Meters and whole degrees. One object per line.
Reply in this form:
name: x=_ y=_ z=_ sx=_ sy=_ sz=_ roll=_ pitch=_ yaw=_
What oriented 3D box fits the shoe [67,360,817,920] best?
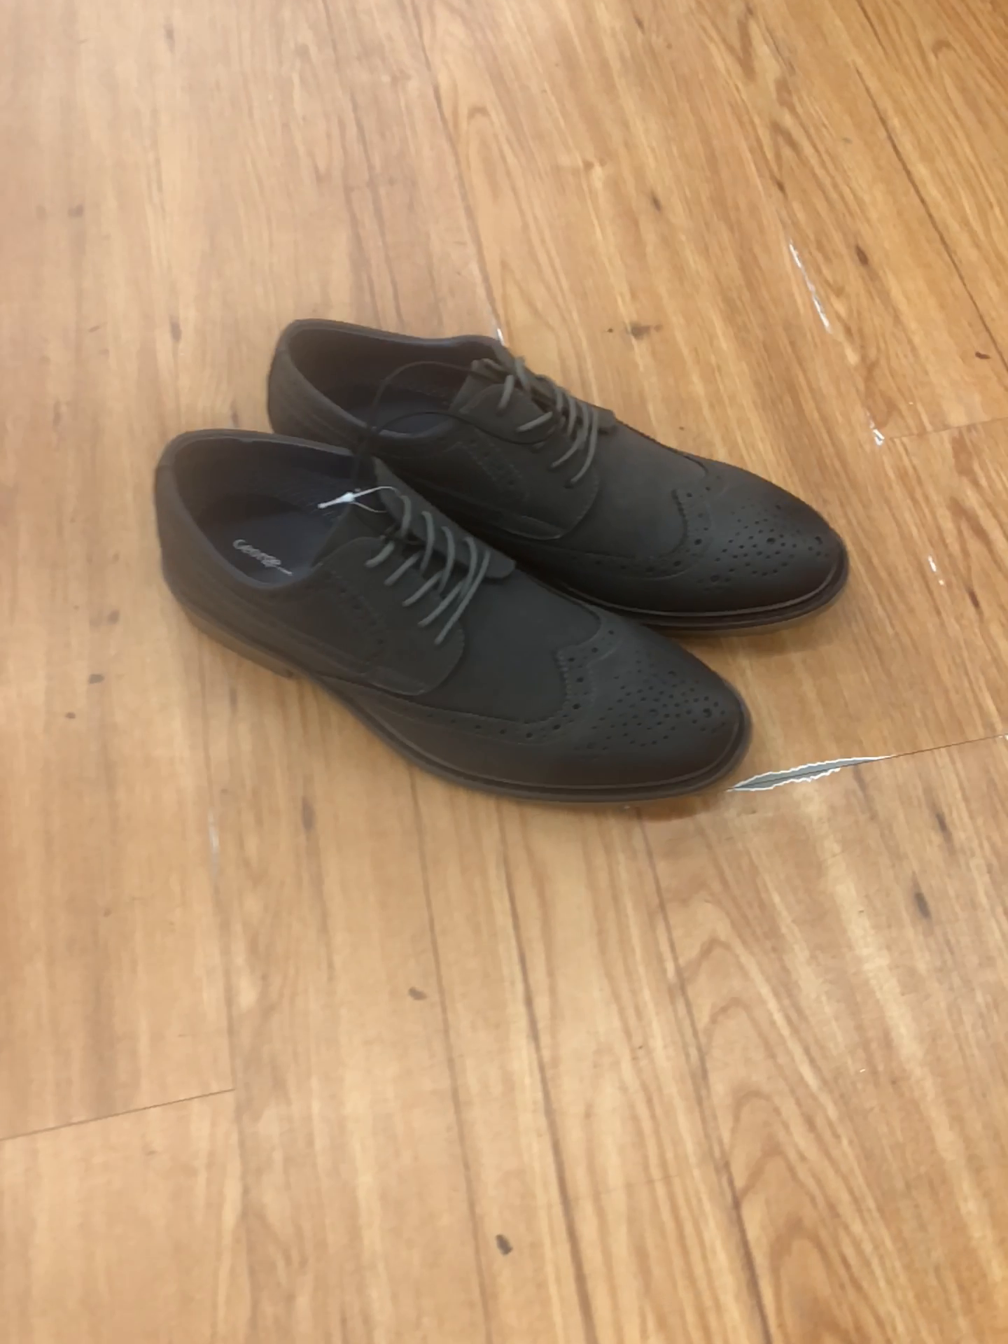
shoe: x=-0.027 y=-0.016 z=0.492 sx=0.280 sy=0.110 sz=0.110 roll=24 pitch=66 yaw=13

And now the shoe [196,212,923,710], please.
shoe: x=0.023 y=-0.097 z=0.511 sx=0.280 sy=0.110 sz=0.110 roll=18 pitch=65 yaw=11
